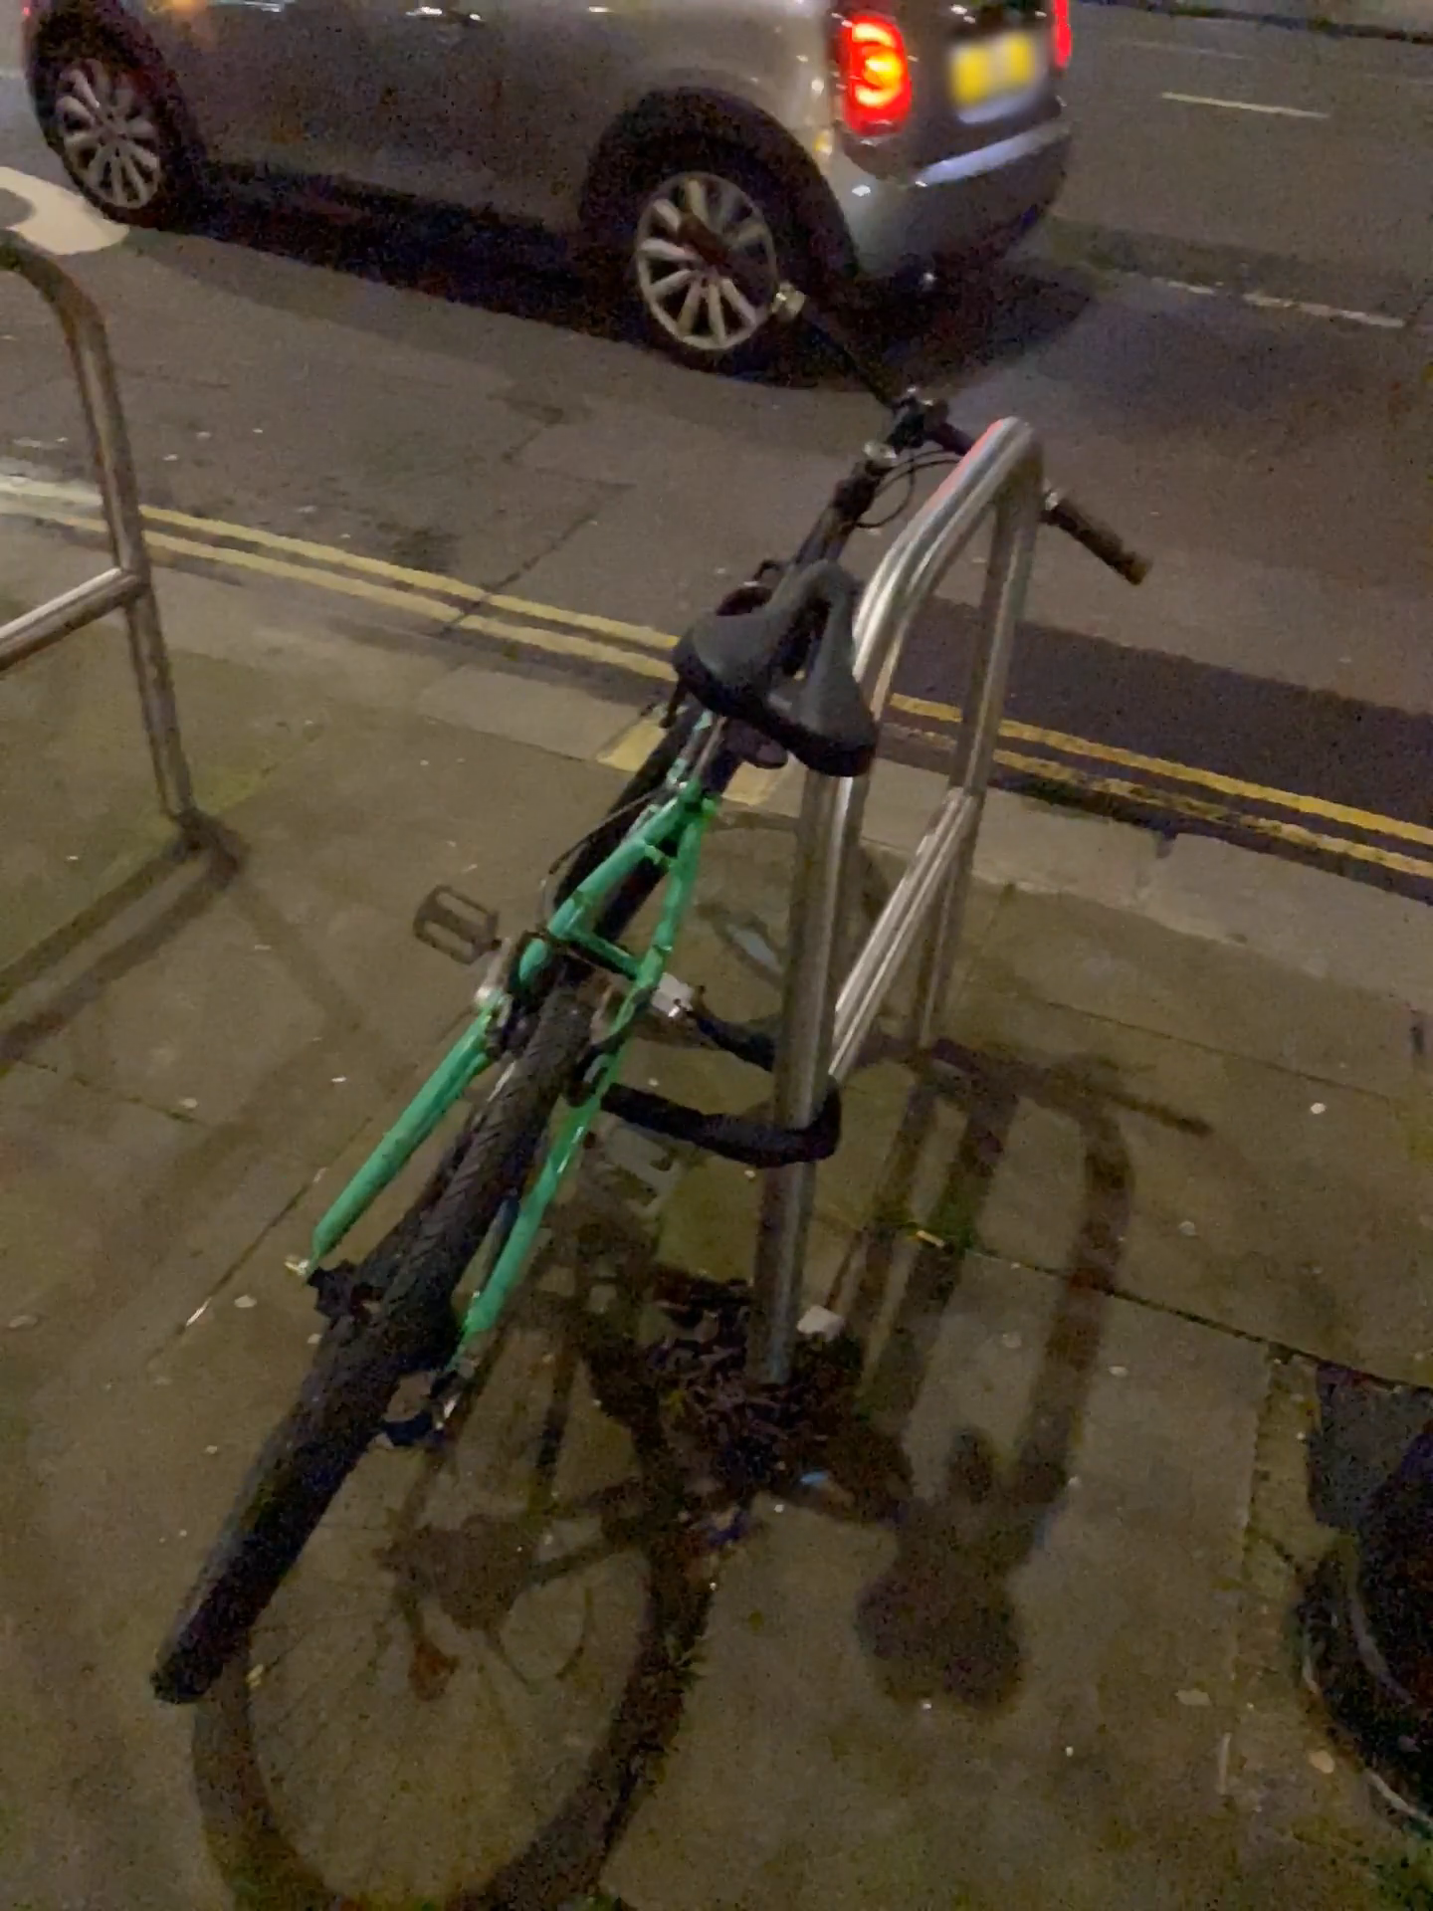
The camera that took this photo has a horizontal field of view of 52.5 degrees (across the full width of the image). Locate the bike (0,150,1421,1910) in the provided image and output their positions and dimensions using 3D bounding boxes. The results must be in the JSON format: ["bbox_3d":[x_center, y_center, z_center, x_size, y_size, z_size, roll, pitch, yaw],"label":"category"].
[{"bbox_3d":[0.133,-0.101,1.512,0.638,1.014,1.697,11,38,10],"label":"bike"}]
